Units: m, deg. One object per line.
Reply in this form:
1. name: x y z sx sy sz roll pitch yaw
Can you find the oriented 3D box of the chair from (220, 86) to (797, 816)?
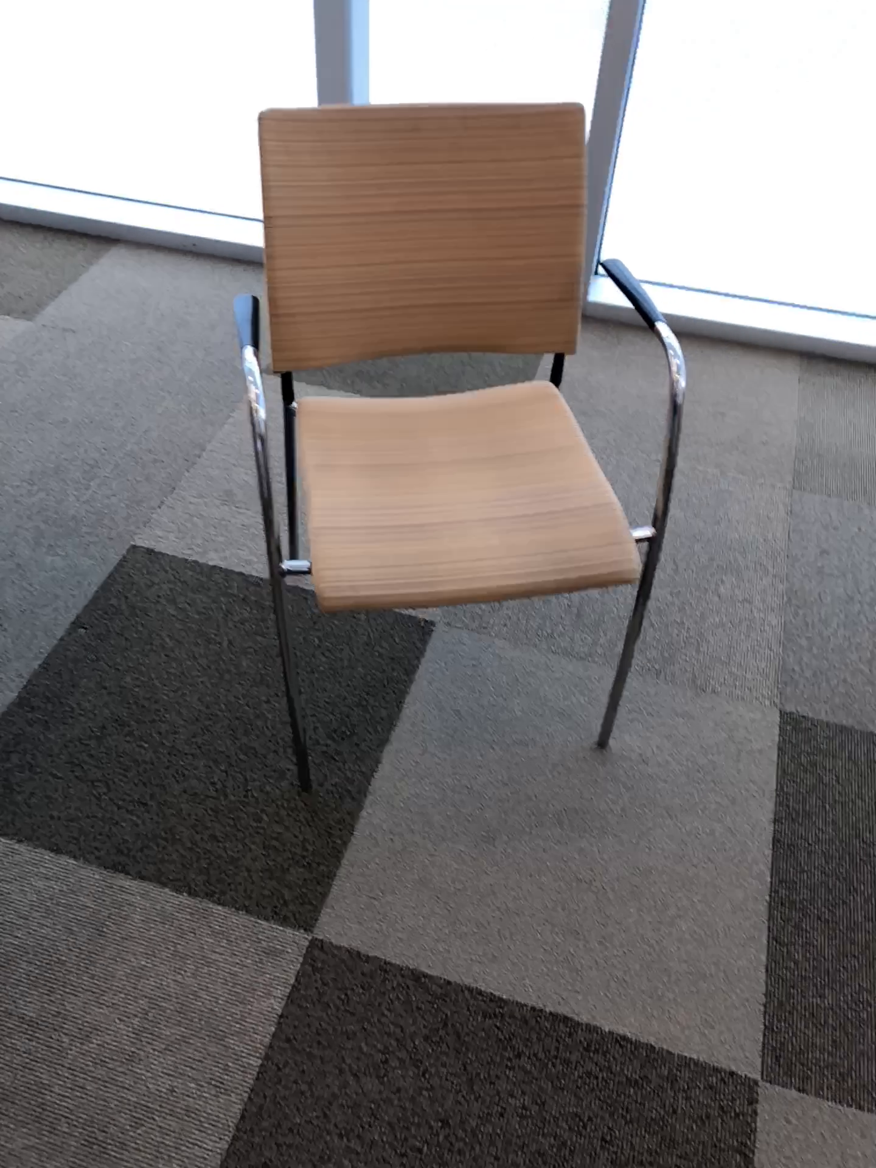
1. chair: 0.016 -0.166 1.338 0.515 0.797 0.548 -6 46 -10
